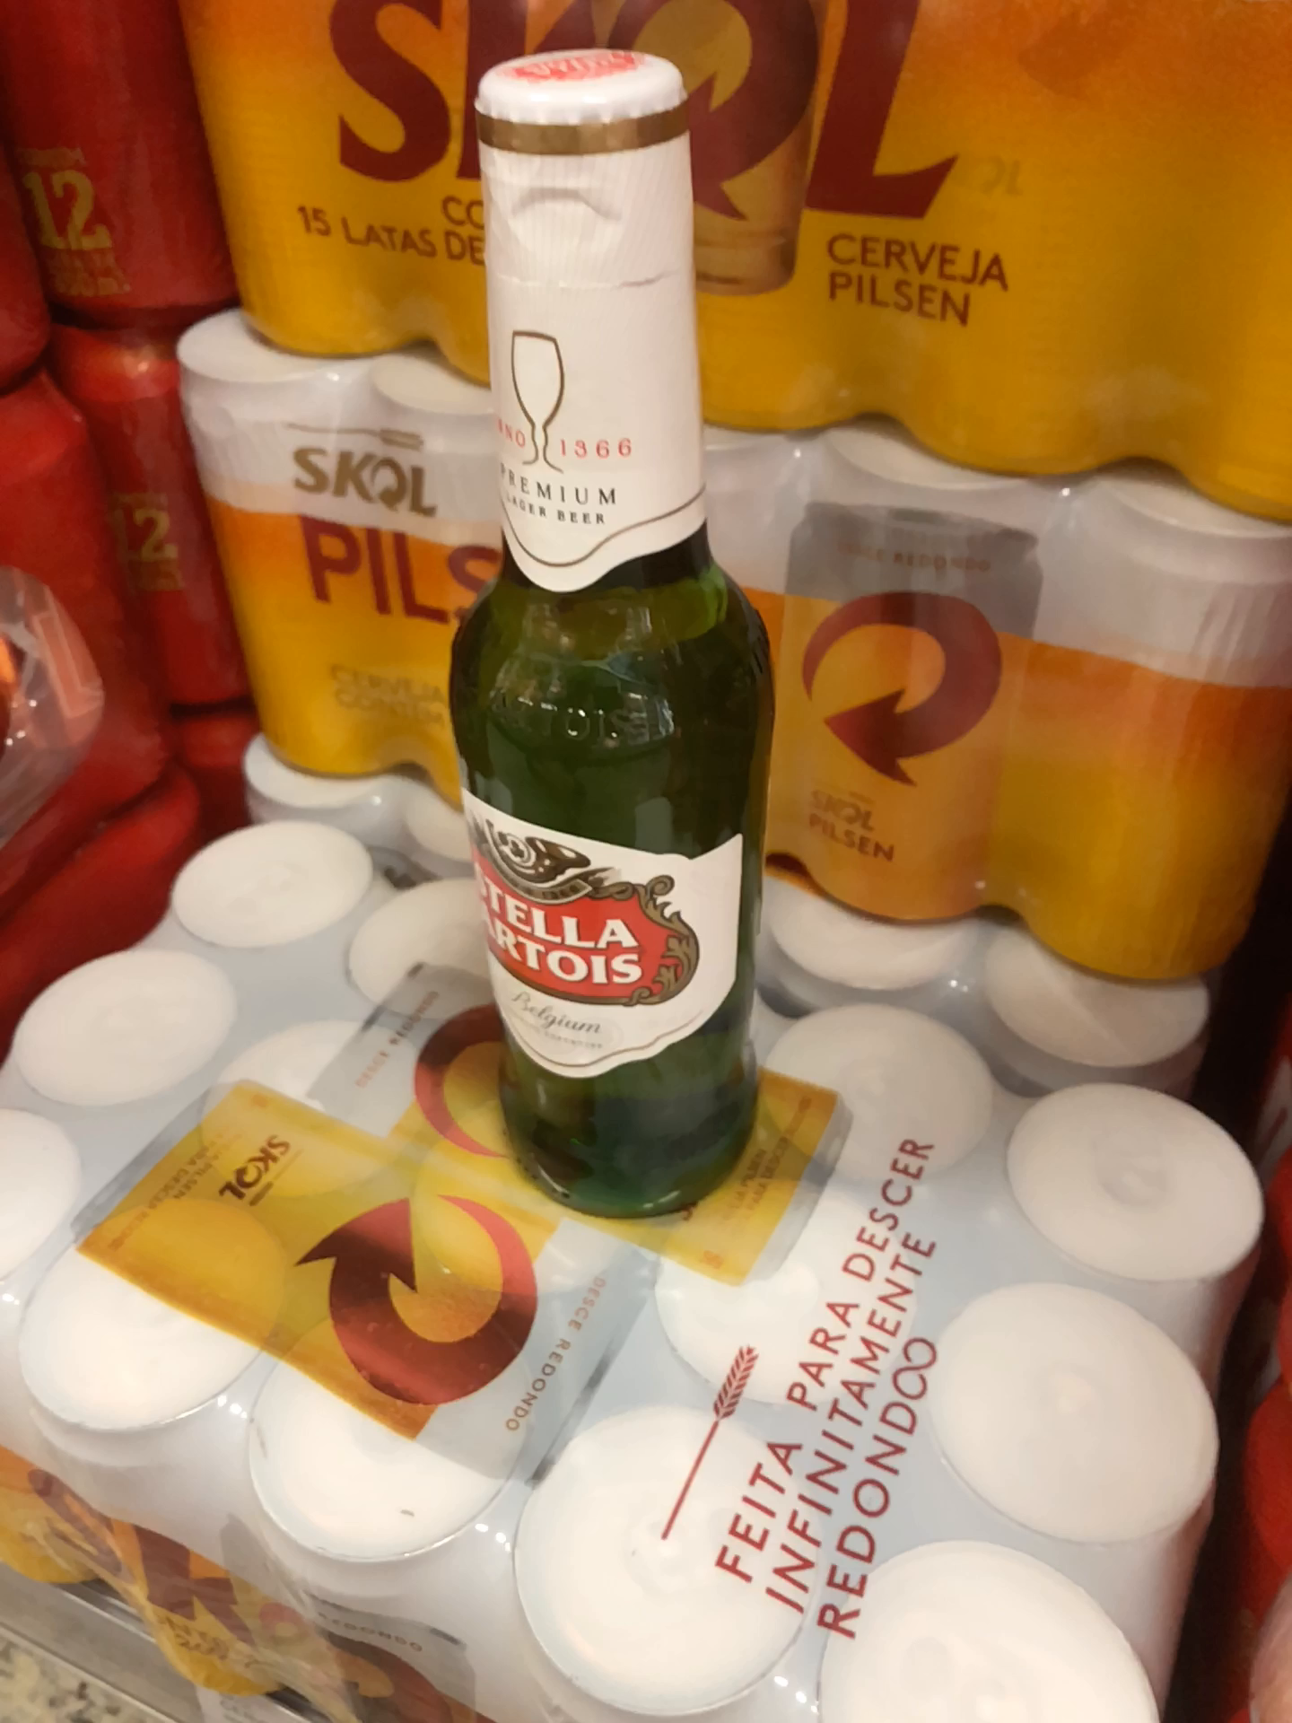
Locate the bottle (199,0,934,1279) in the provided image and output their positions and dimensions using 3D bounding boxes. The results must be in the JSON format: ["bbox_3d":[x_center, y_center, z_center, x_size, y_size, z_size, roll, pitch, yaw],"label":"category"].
[{"bbox_3d":[-0.002,-0.026,0.249,0.070,0.218,0.060,16,45,21],"label":"bottle"}]
